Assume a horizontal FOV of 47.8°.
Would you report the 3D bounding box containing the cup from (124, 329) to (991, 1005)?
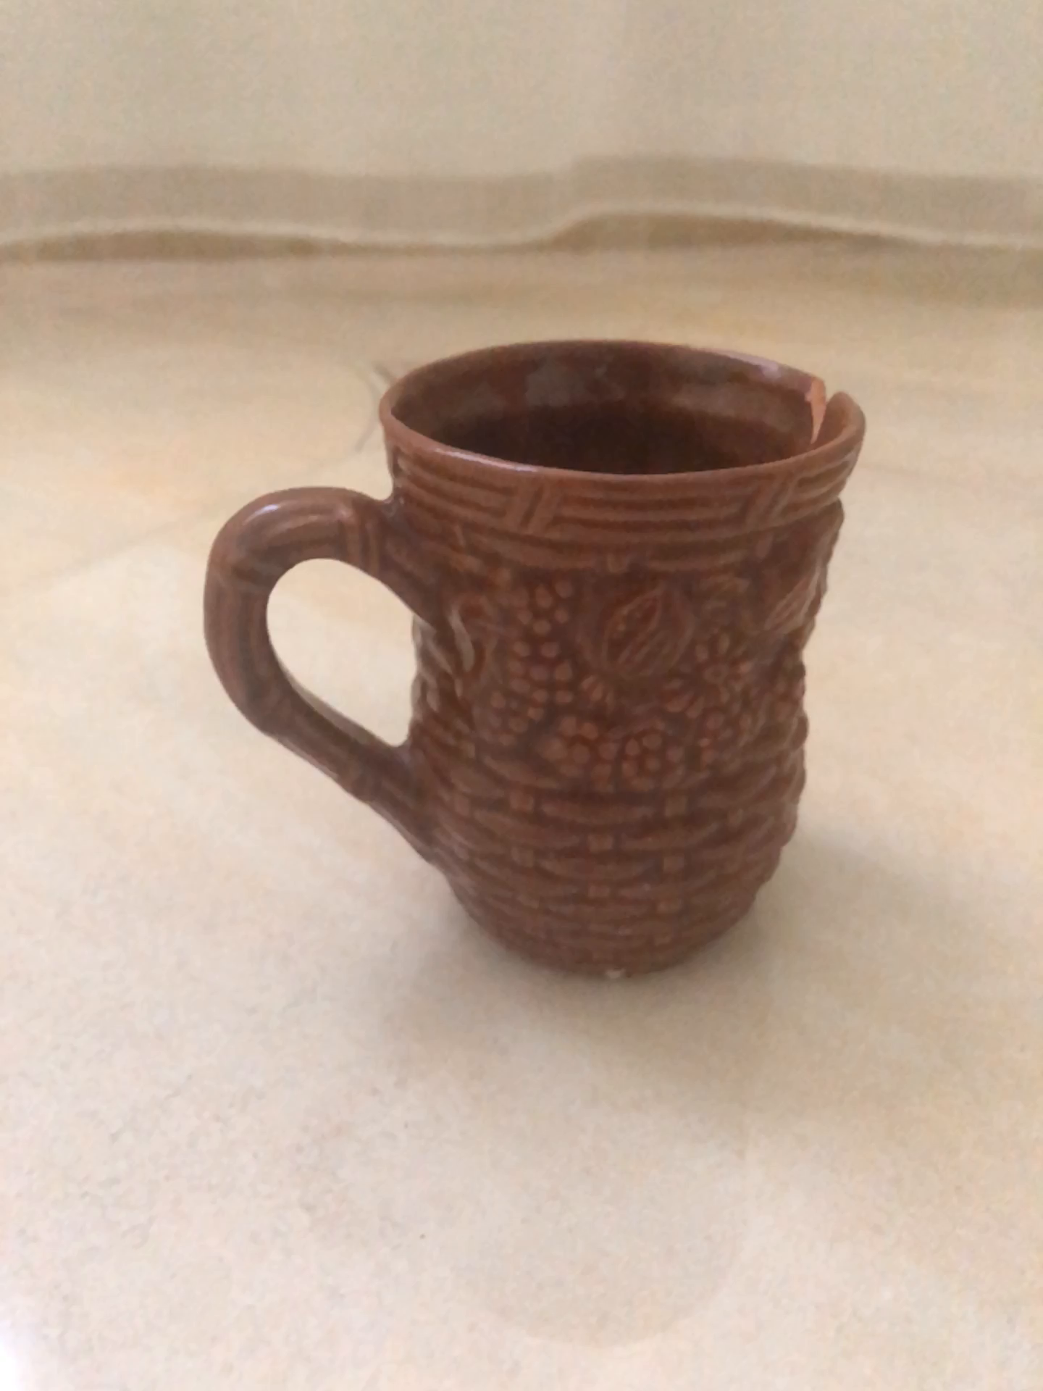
[{"bbox_3d":[0.003,-0.009,0.192,0.104,0.081,0.073,-2,30,-4],"label":"cup"}]
